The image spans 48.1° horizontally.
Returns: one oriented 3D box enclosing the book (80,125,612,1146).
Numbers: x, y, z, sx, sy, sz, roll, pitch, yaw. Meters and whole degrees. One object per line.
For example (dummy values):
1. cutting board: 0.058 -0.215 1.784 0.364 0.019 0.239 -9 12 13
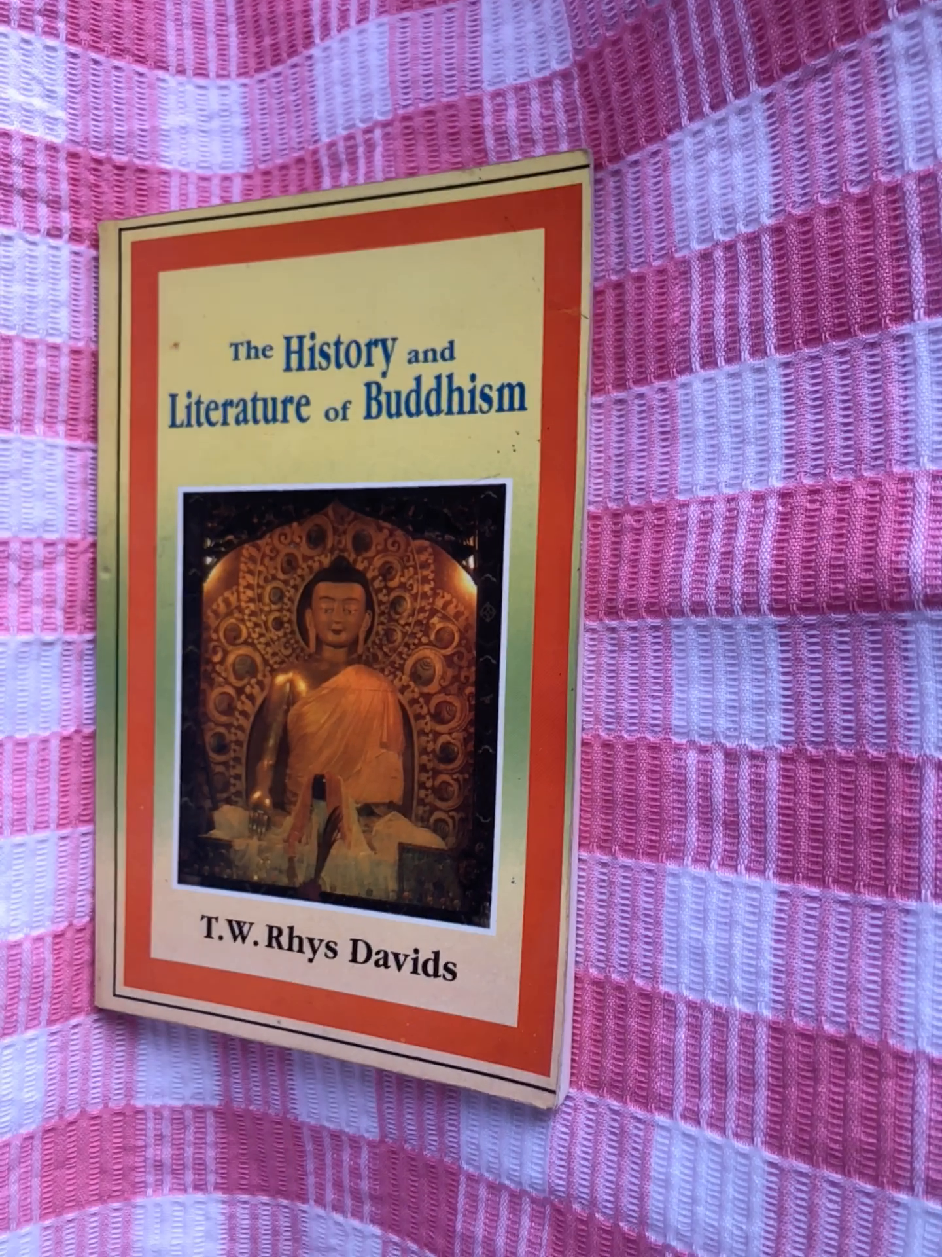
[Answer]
1. book: -0.038 0.000 0.267 0.020 0.139 0.220 0 92 -64
